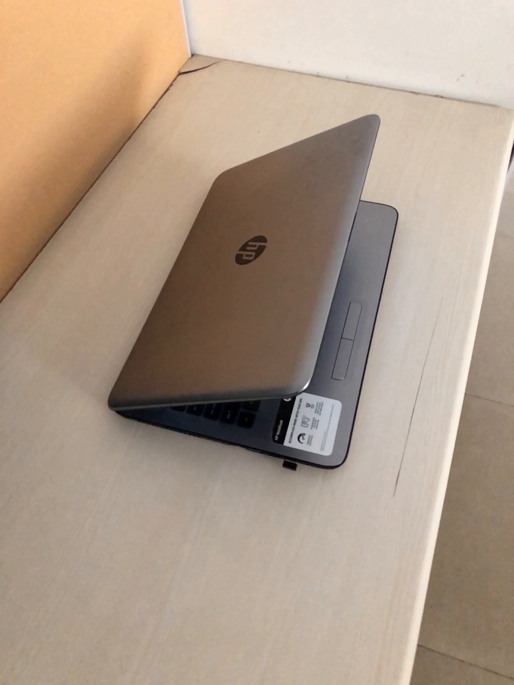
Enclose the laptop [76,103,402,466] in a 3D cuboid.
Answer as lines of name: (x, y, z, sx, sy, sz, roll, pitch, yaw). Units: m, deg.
laptop: (0.008, -0.088, 0.618, 0.237, 0.133, 0.365, 11, 55, 12)
